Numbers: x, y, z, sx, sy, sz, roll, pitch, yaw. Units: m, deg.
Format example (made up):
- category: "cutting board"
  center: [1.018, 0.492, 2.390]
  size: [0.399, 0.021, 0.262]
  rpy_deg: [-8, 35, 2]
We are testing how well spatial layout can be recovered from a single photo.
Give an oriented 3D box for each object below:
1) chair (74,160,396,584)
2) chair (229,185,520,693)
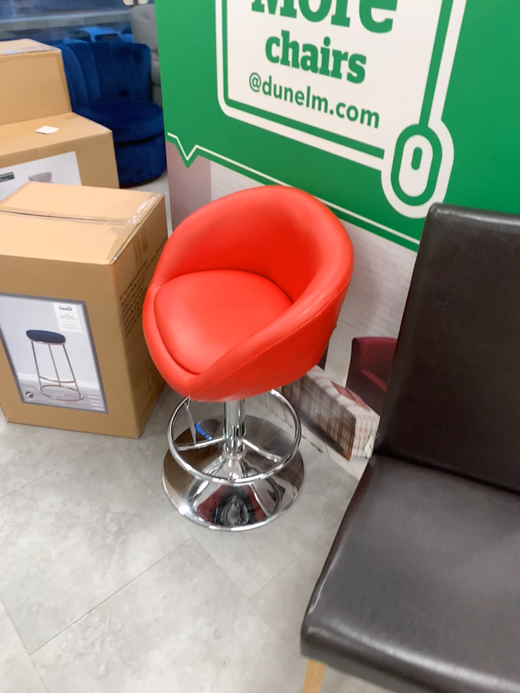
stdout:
- category: "chair"
  center: [-0.091, 0.043, 1.268]
  size: [0.461, 0.744, 0.538]
  rpy_deg: [-15, 40, -20]
- category: "chair"
  center: [0.288, 0.282, 0.864]
  size: [0.505, 0.853, 0.535]
  rpy_deg: [13, 39, 14]
